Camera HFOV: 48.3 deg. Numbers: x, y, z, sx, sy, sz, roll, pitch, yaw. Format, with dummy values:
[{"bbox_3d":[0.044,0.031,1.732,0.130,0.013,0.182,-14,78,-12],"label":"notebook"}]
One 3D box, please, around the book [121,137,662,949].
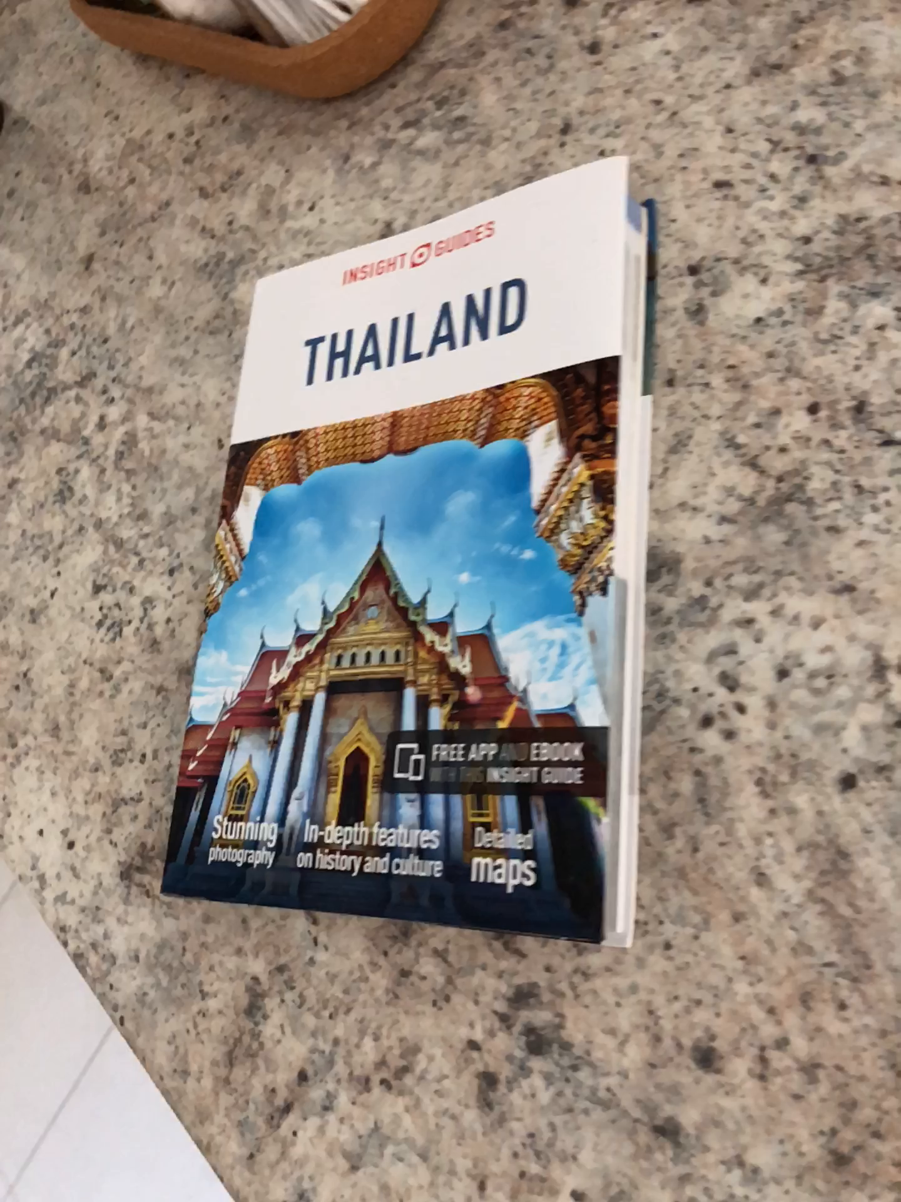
[{"bbox_3d":[-0.017,-0.020,0.330,0.164,0.030,0.240,-7,67,32],"label":"book"}]
